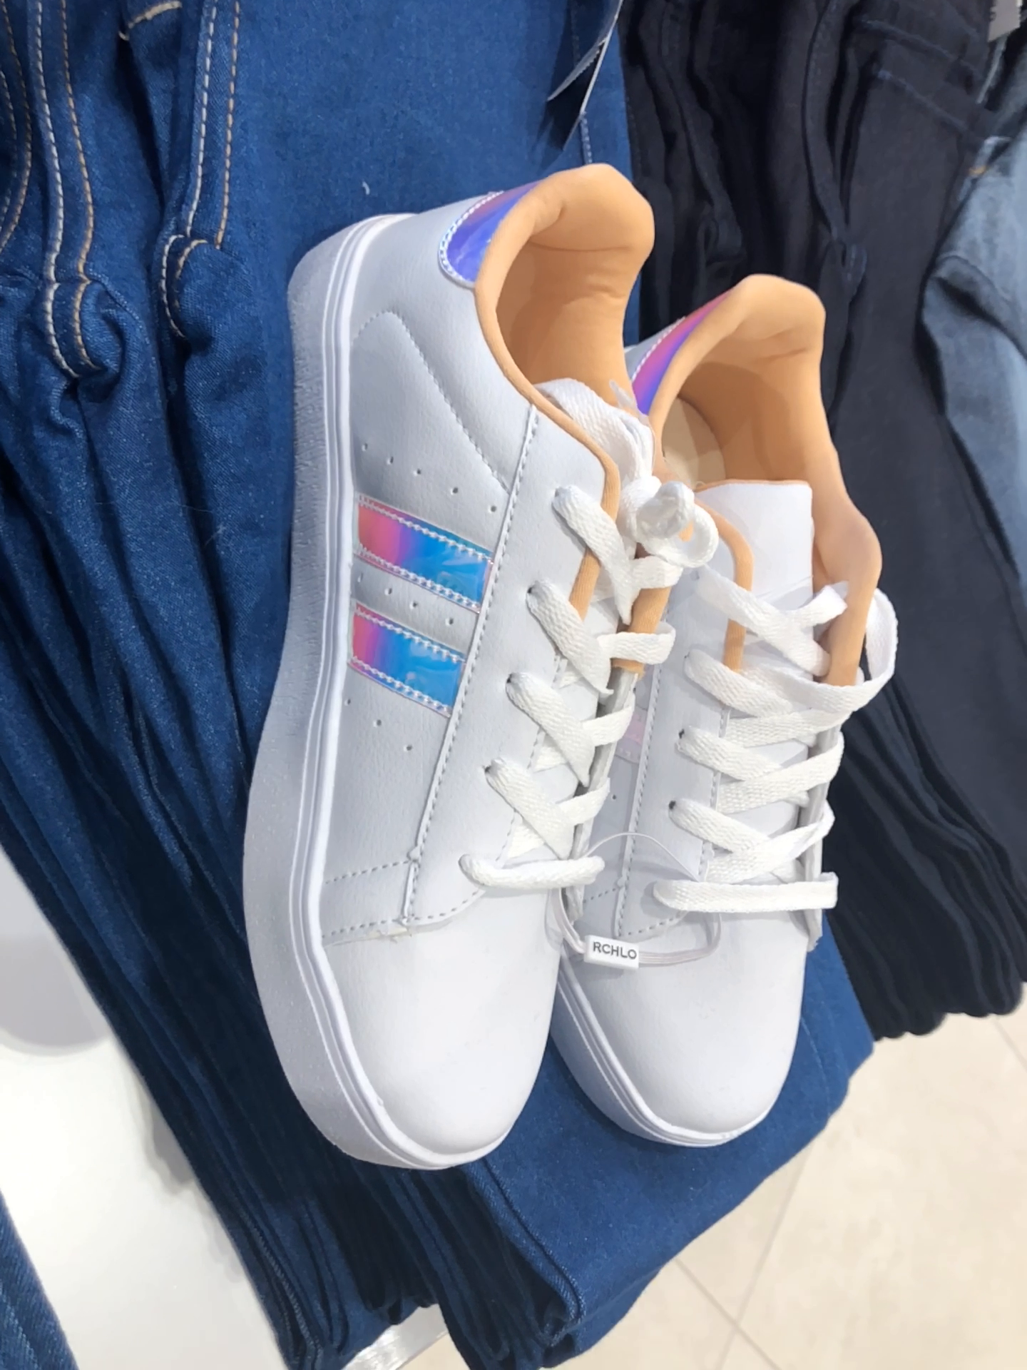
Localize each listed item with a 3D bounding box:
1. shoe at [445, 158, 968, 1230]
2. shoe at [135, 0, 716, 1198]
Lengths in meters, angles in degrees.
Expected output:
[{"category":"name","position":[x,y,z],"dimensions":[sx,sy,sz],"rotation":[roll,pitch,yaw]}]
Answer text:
[{"category":"shoe","position":[0.046,0.004,0.340],"dimensions":[0.090,0.109,0.260],"rotation":[5,76,-29]},{"category":"shoe","position":[-0.025,-0.018,0.306],"dimensions":[0.091,0.109,0.260],"rotation":[12,72,-47]}]
